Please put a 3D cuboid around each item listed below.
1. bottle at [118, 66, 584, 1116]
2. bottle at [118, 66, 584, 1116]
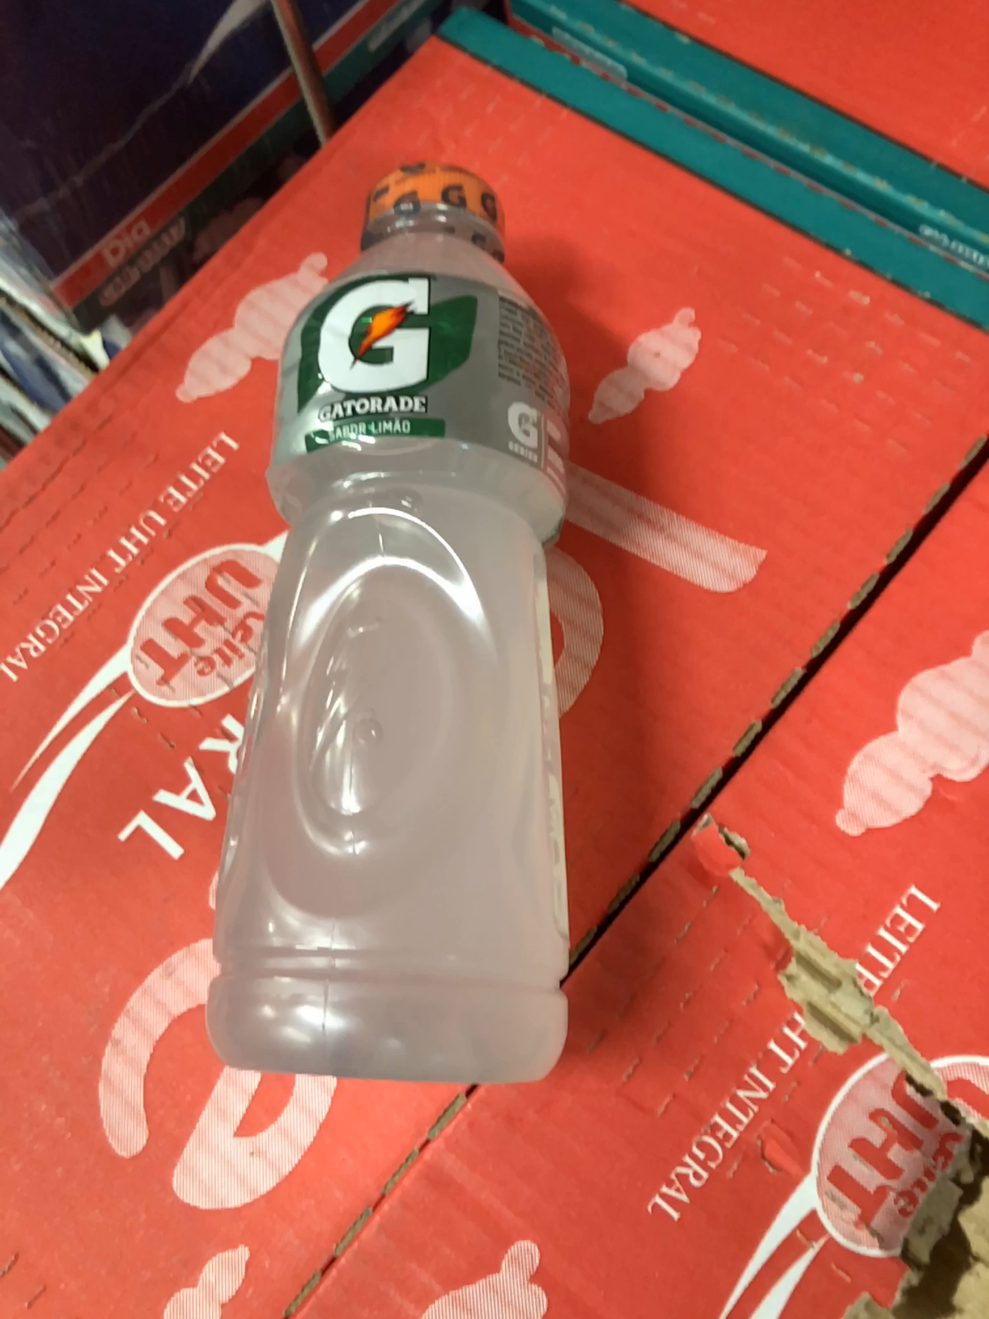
[{"bbox_3d":[-0.018,-0.019,0.236,0.070,0.060,0.211,-2,69,8],"label":"bottle"},{"bbox_3d":[-0.018,-0.019,0.236,0.070,0.060,0.211,-2,69,8],"label":"bottle"}]
